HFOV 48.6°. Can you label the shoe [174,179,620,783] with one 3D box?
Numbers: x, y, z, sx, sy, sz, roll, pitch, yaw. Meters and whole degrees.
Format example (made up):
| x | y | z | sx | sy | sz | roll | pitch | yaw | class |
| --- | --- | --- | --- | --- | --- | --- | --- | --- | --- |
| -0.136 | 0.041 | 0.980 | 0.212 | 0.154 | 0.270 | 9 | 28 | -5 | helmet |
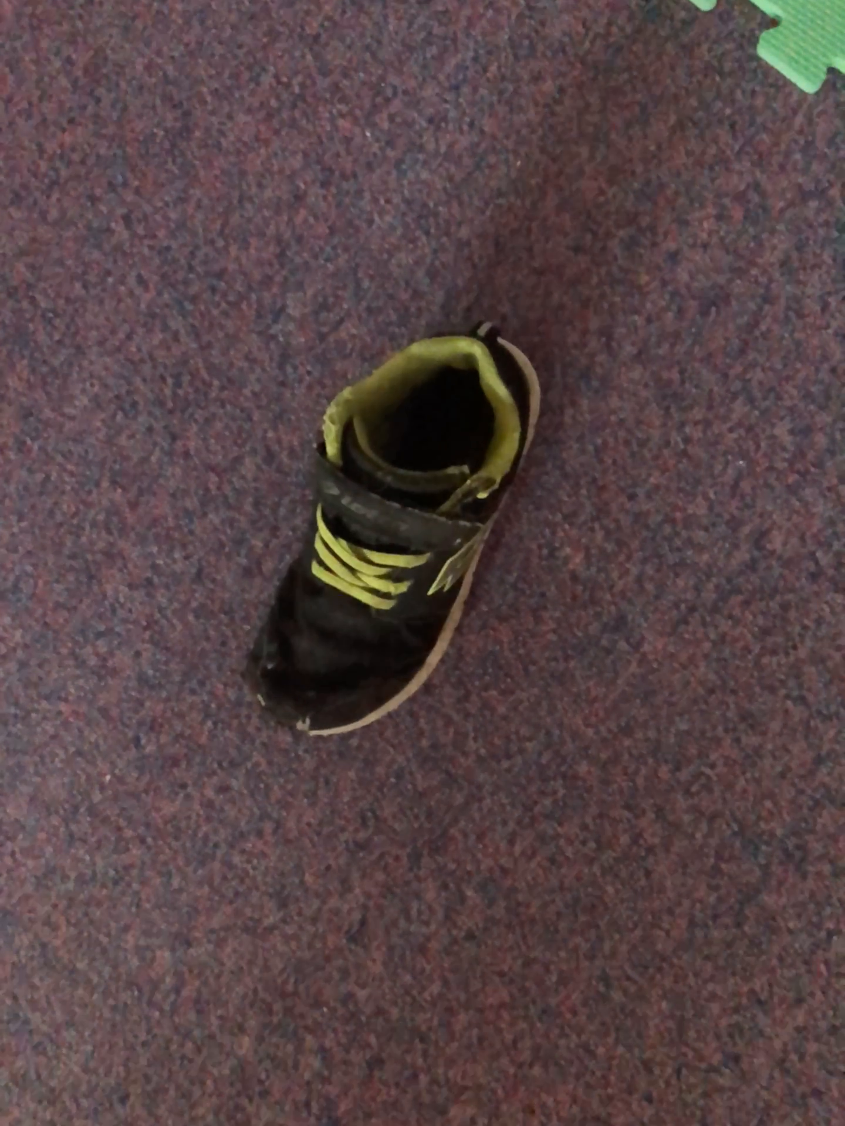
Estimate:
| x | y | z | sx | sy | sz | roll | pitch | yaw | class |
| --- | --- | --- | --- | --- | --- | --- | --- | --- | --- |
| -0.006 | -0.032 | 0.415 | 0.090 | 0.100 | 0.220 | 25 | 91 | 6 | shoe |
